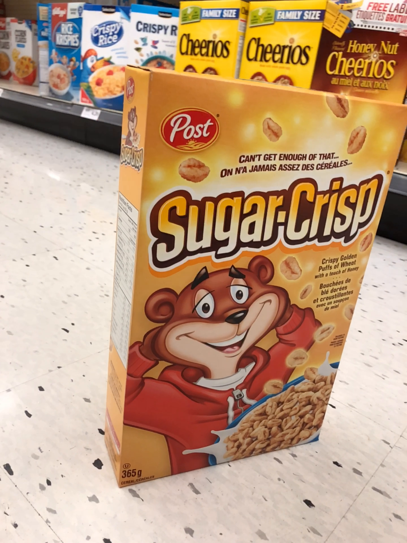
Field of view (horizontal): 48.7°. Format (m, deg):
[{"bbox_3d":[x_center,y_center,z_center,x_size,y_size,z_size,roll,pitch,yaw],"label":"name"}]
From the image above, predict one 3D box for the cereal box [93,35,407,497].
[{"bbox_3d":[0.034,0.008,0.338,0.210,0.298,0.060,-3,24,-25],"label":"cereal box"}]
